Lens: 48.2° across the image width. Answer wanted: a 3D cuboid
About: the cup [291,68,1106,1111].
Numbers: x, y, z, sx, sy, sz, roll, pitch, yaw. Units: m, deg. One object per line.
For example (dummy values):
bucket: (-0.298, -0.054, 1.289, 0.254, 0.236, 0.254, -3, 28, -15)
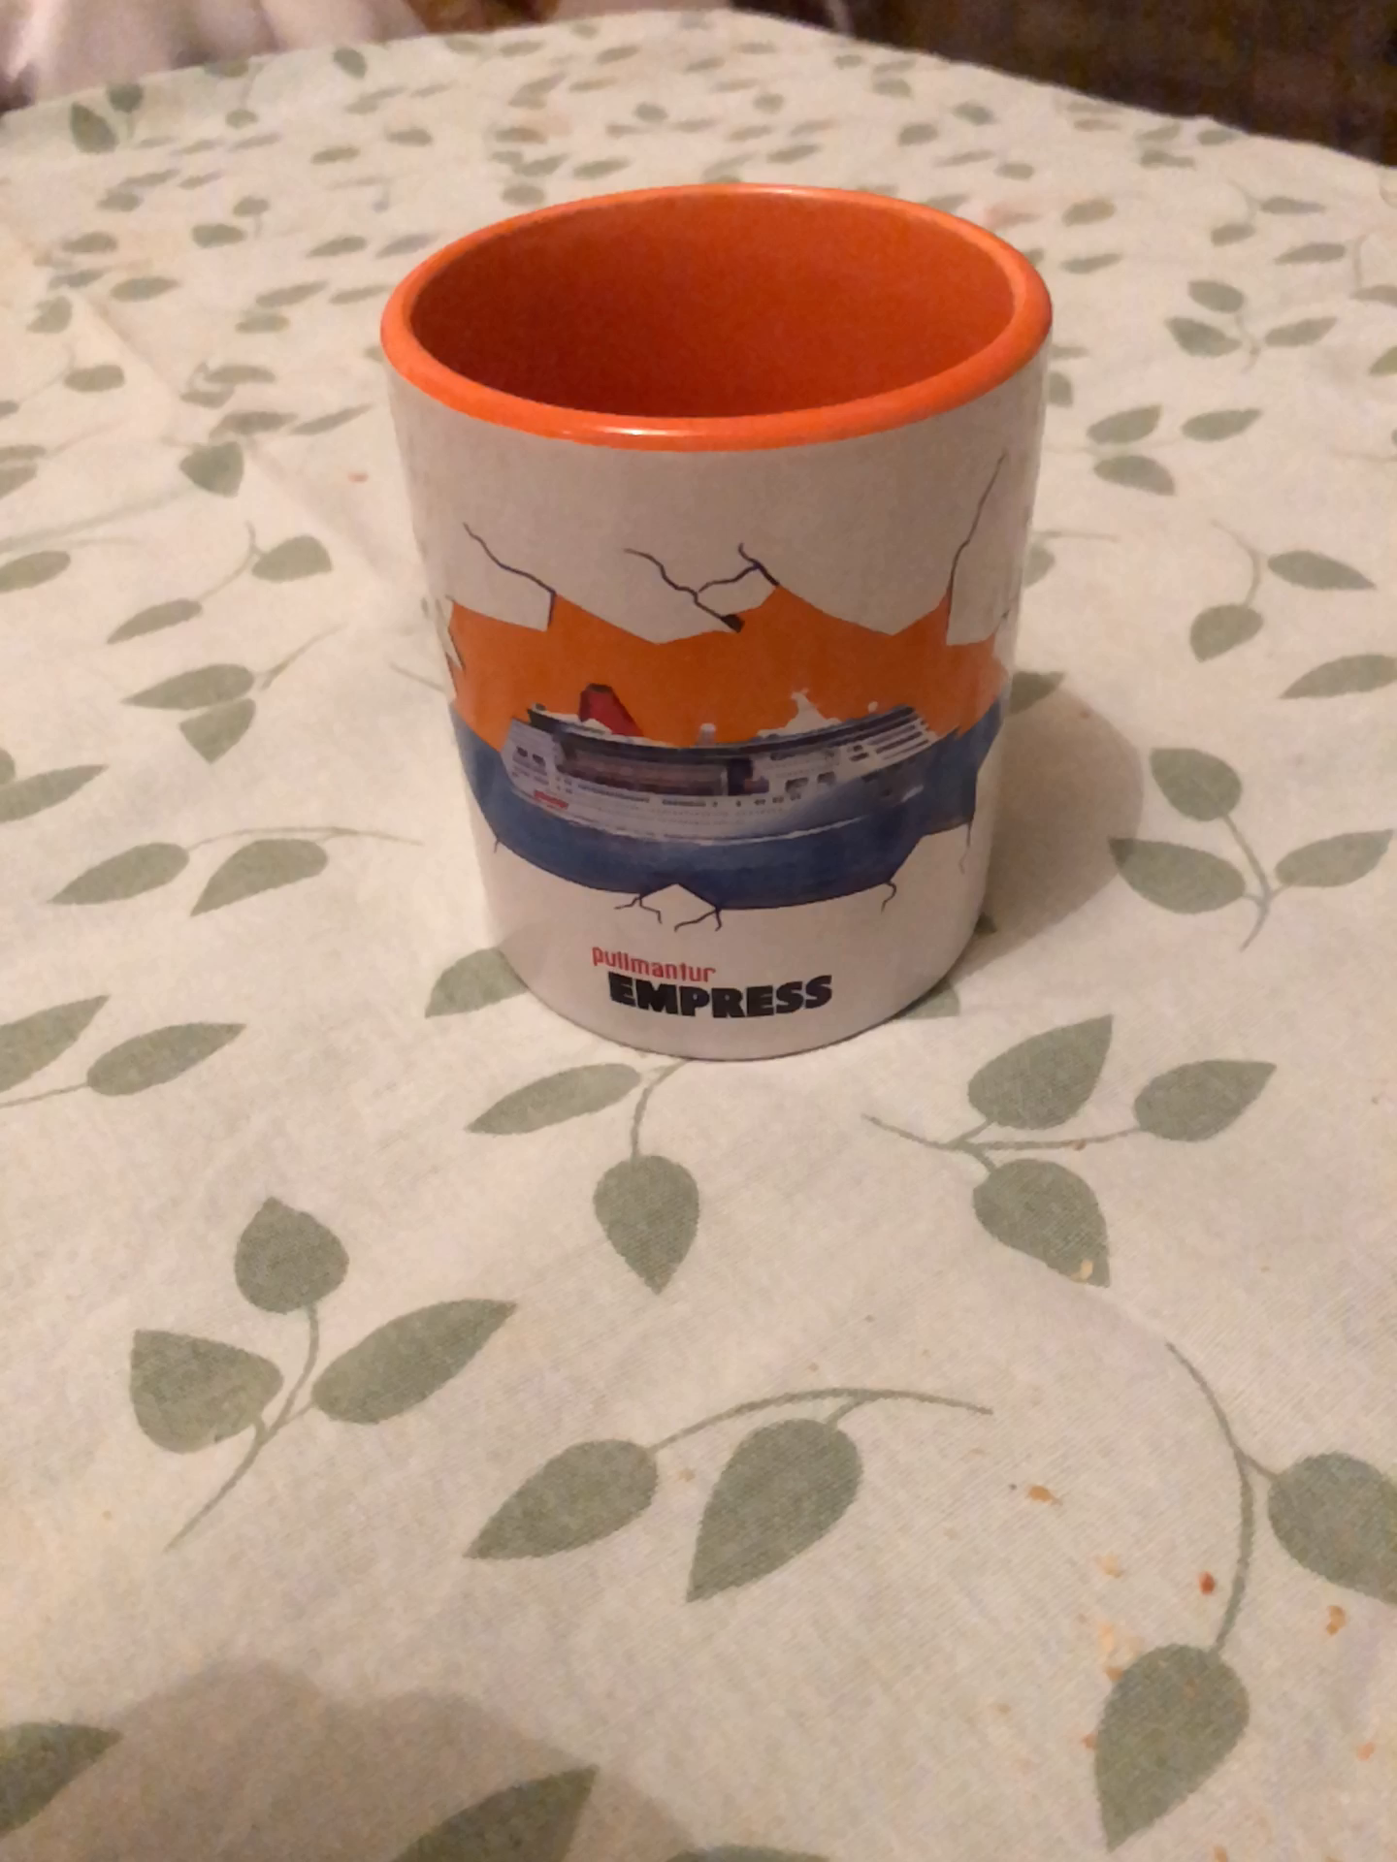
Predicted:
cup: (0.012, -0.057, 0.230, 0.080, 0.099, 0.121, 6, 42, 11)
